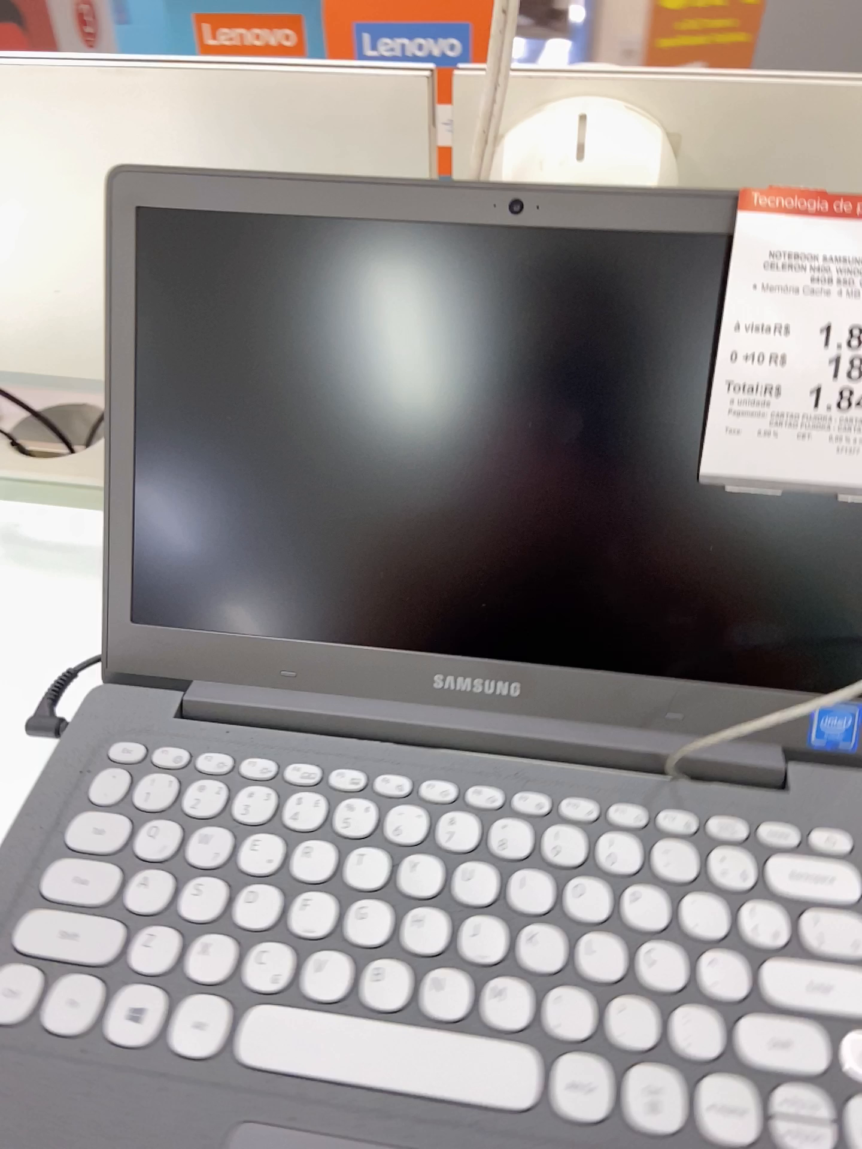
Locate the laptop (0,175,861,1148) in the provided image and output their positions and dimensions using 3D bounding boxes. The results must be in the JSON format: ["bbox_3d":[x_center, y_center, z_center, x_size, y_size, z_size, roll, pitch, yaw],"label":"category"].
[{"bbox_3d":[0.007,0.032,0.265,0.324,0.172,0.342,5,43,8],"label":"laptop"}]
